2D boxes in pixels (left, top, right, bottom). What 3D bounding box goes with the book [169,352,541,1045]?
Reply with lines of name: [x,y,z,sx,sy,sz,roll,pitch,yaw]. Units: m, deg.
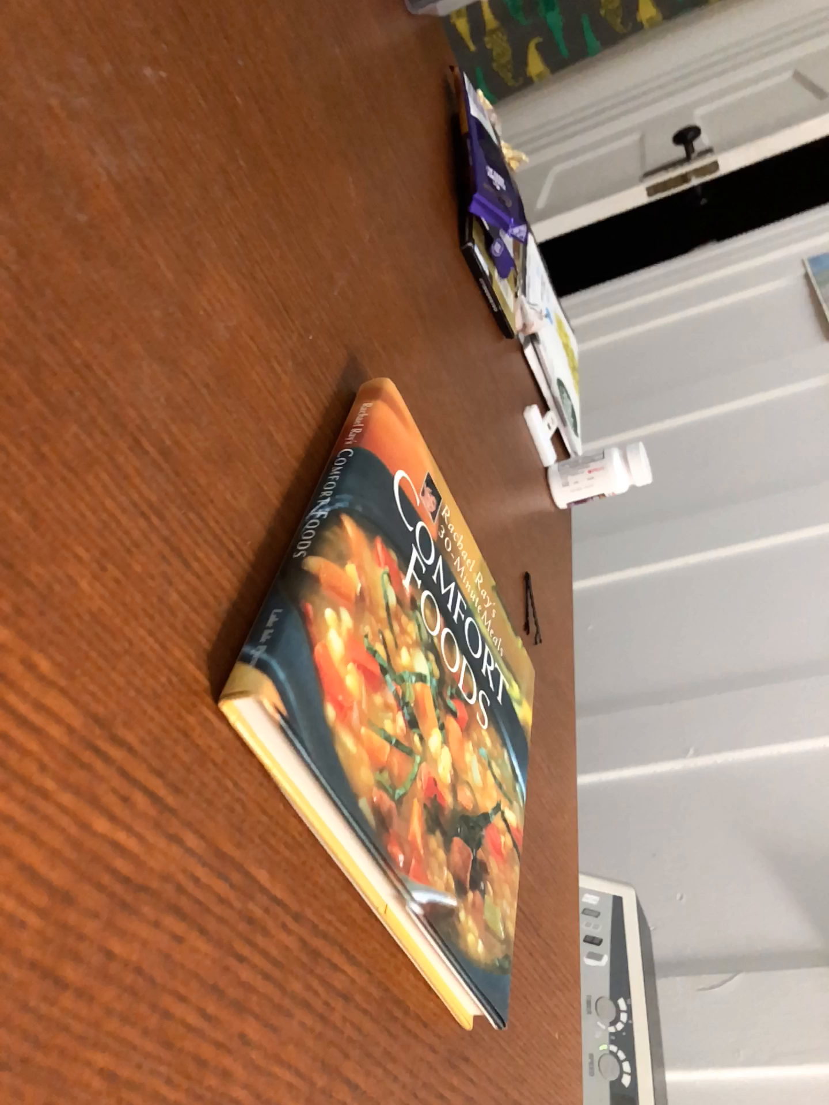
book: [0.001,0.053,0.389,0.211,0.030,0.200,-75,144,-51]
